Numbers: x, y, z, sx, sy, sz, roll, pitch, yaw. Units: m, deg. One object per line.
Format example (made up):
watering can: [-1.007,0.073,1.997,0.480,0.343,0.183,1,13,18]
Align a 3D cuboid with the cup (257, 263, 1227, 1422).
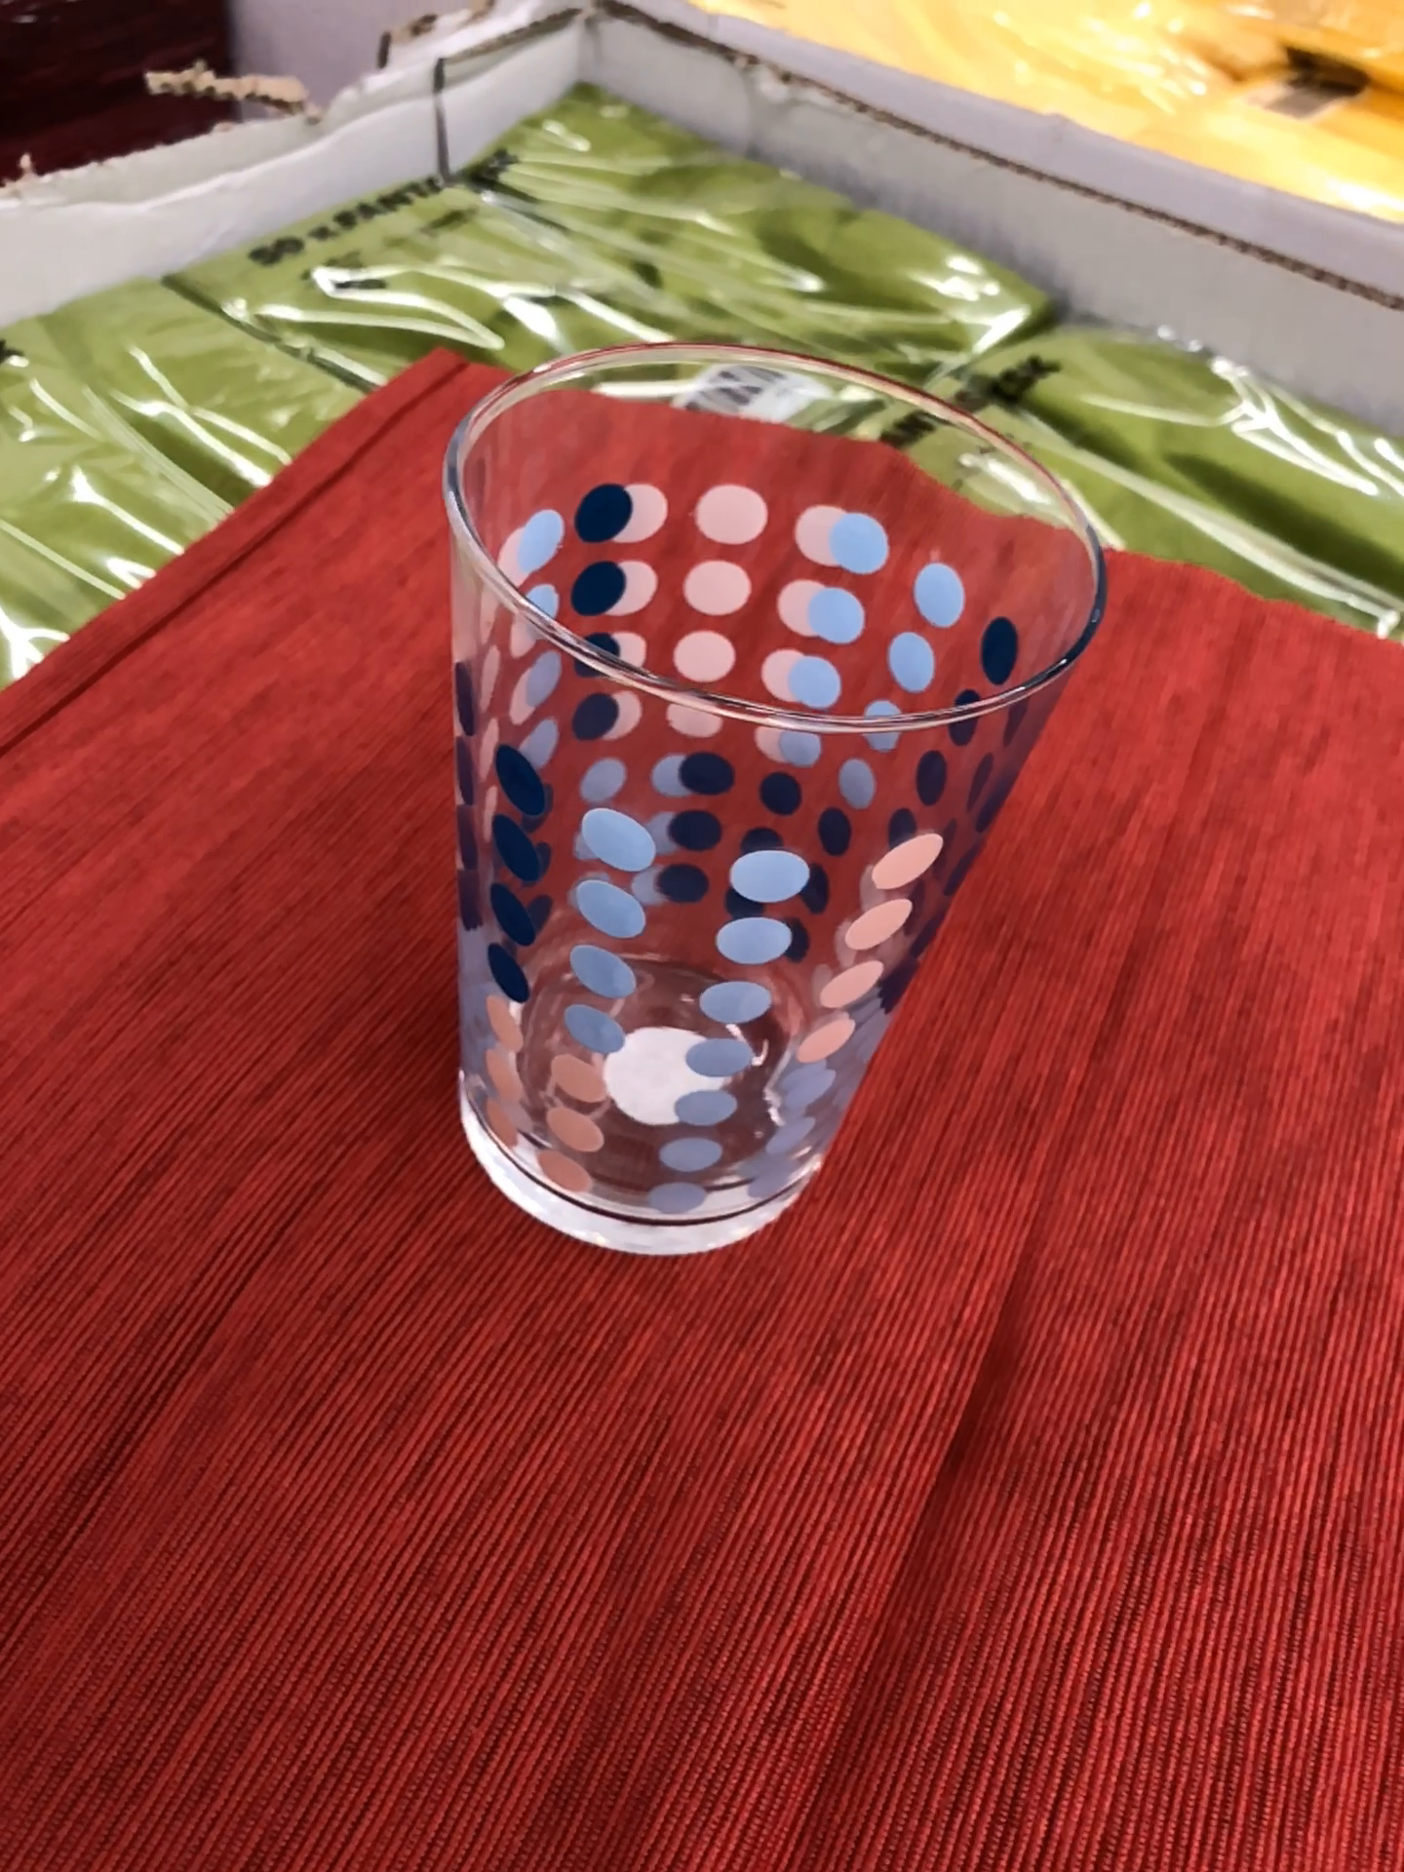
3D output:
cup: [0.003,-0.014,0.237,0.090,0.120,0.090,5,45,-5]
